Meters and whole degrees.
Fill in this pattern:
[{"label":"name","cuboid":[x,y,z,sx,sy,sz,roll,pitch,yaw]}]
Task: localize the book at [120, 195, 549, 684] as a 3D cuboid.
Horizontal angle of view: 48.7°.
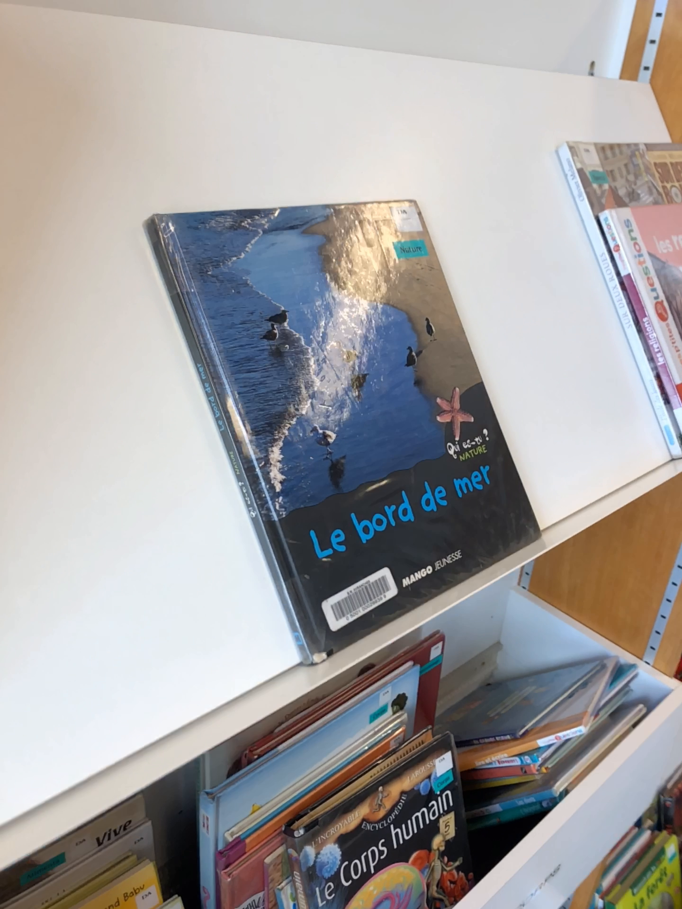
[{"label":"book","cuboid":[0.012,-0.029,0.439,0.210,0.245,0.020,-19,-2,-39]}]
